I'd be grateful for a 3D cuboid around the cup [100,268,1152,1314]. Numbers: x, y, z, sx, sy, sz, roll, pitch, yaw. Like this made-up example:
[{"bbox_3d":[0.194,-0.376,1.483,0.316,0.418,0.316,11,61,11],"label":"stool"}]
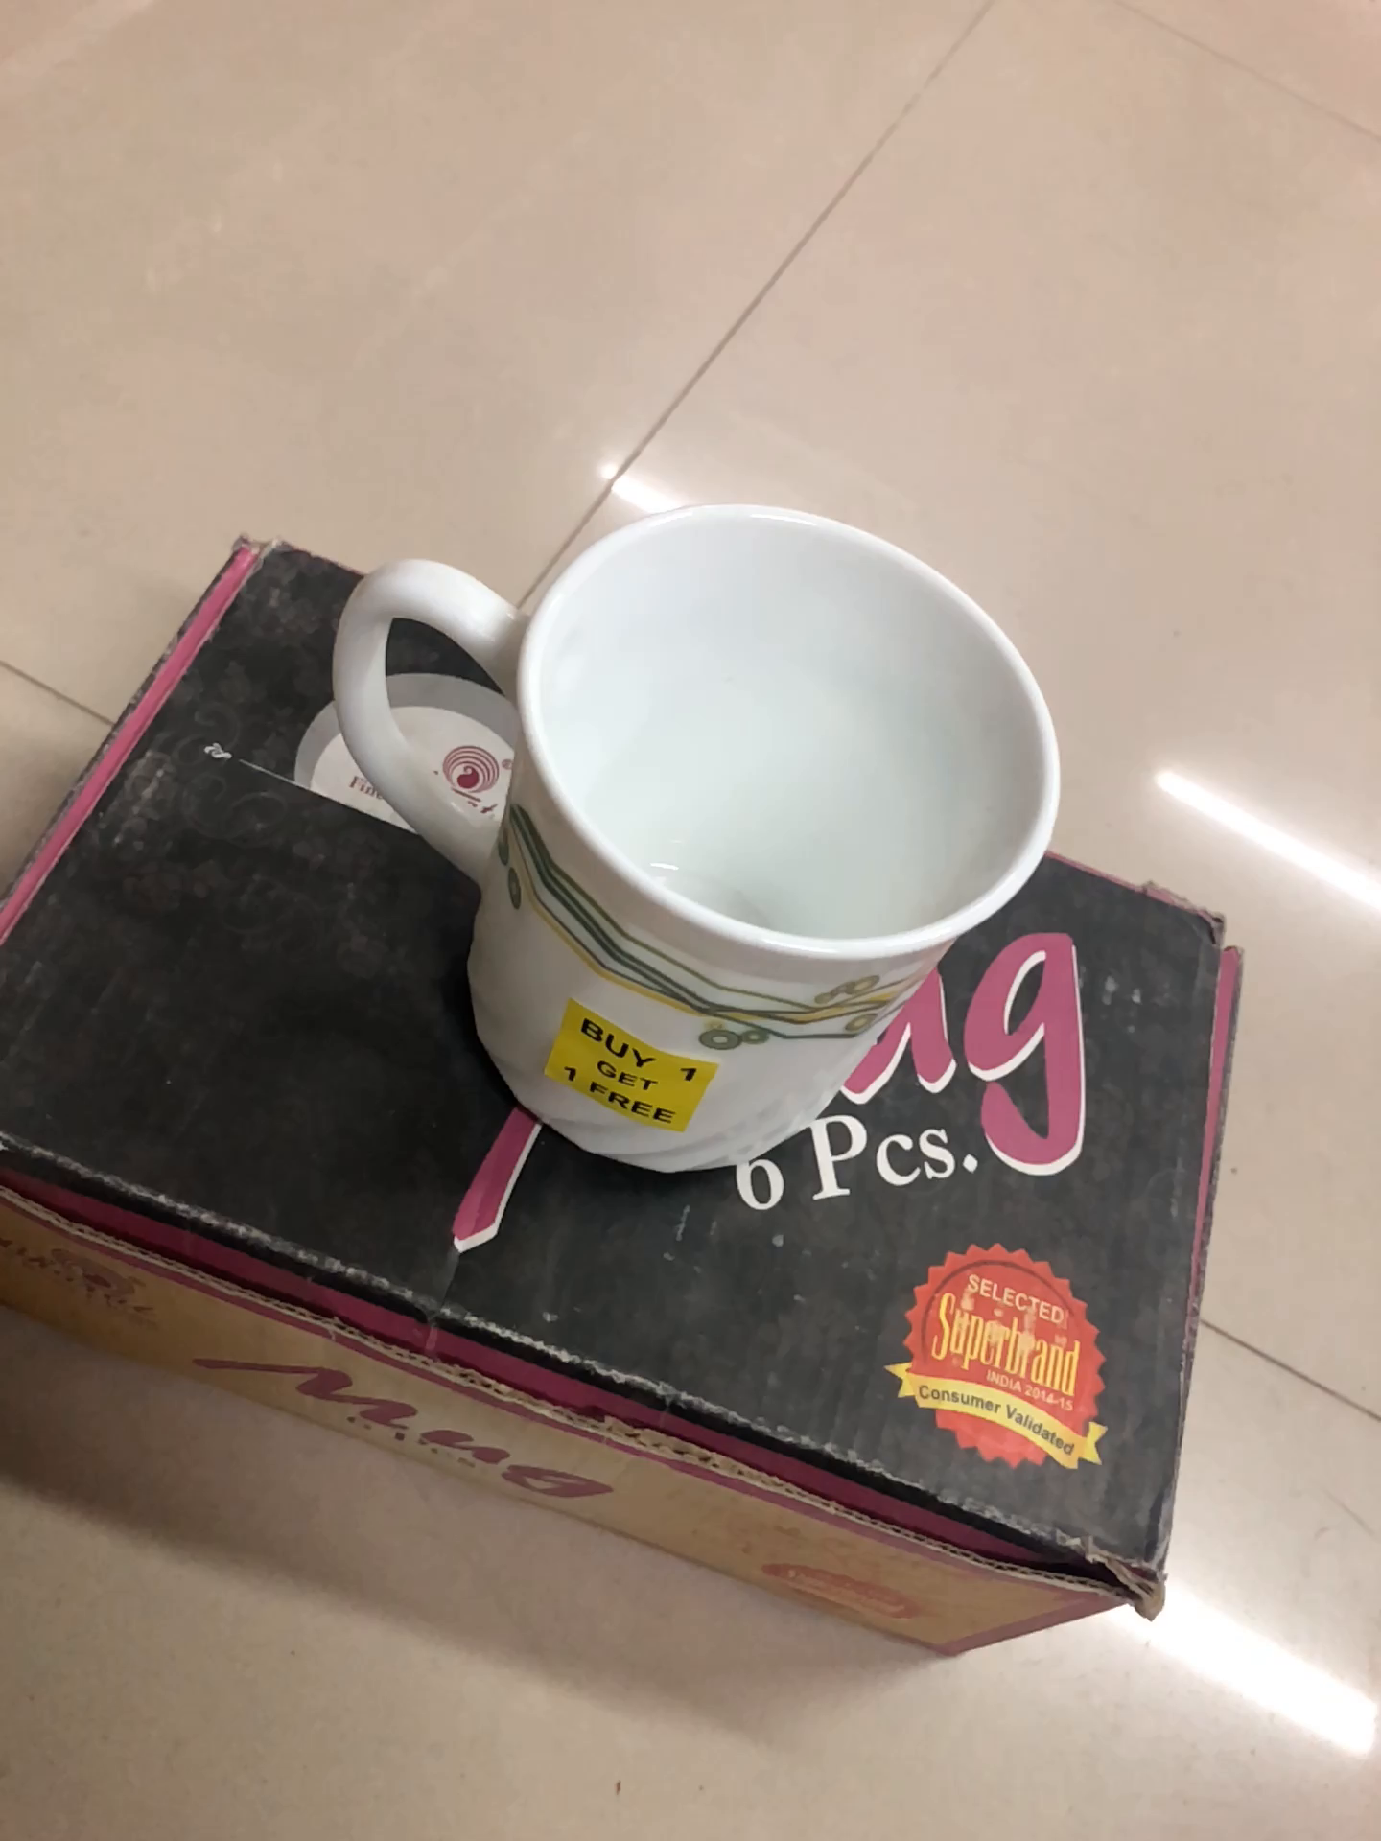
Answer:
[{"bbox_3d":[-0.013,-0.015,0.245,0.120,0.100,0.080,27,56,1],"label":"cup"}]
